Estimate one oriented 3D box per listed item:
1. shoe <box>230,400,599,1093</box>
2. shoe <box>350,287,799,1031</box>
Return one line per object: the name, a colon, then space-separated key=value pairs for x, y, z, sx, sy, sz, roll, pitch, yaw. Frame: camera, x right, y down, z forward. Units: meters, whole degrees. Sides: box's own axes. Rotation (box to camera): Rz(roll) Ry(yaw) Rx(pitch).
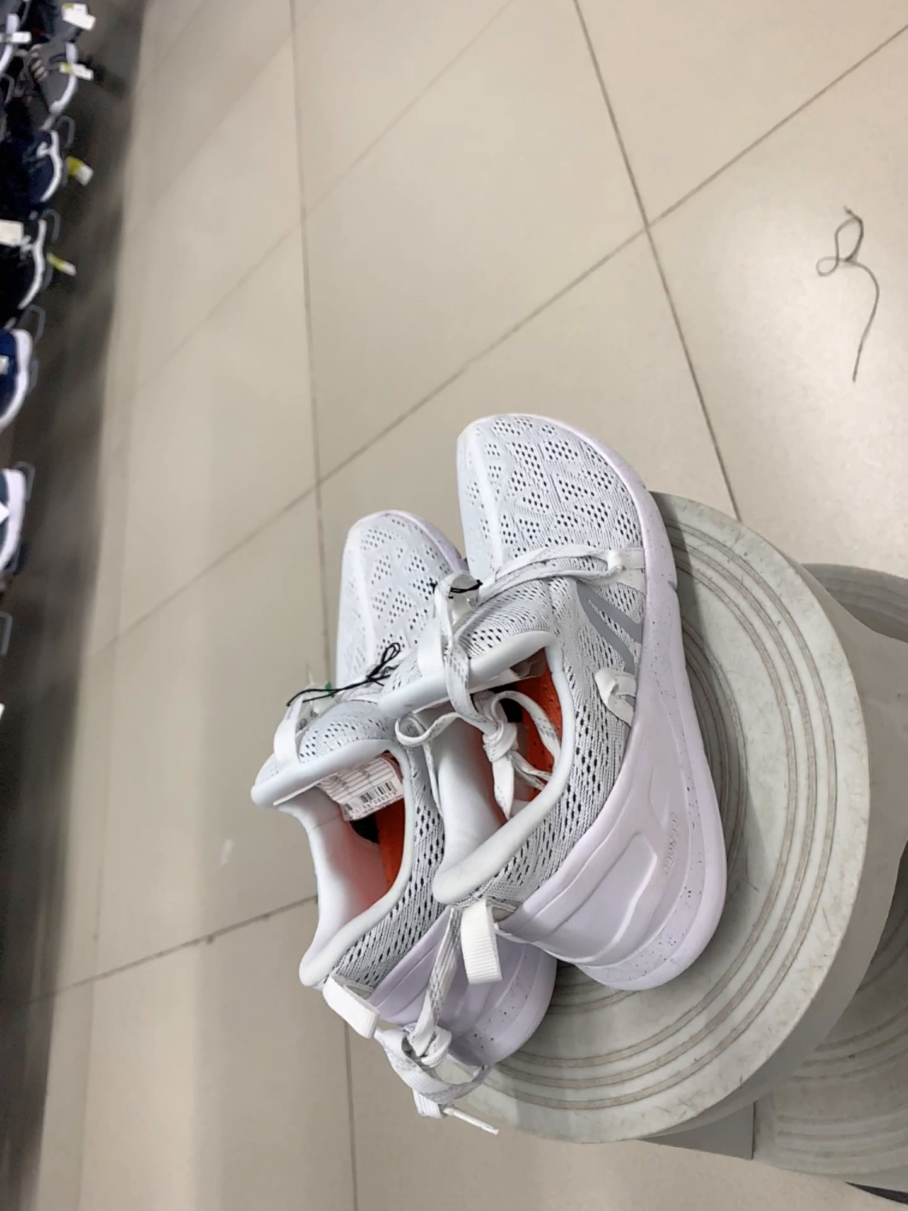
shoe: x=-0.032 y=0.059 z=0.435 sx=0.110 sy=0.090 sz=0.280 roll=-31 pitch=54 yaw=34
shoe: x=0.033 y=0.017 z=0.395 sx=0.110 sy=0.080 sz=0.280 roll=-31 pitch=54 yaw=34
